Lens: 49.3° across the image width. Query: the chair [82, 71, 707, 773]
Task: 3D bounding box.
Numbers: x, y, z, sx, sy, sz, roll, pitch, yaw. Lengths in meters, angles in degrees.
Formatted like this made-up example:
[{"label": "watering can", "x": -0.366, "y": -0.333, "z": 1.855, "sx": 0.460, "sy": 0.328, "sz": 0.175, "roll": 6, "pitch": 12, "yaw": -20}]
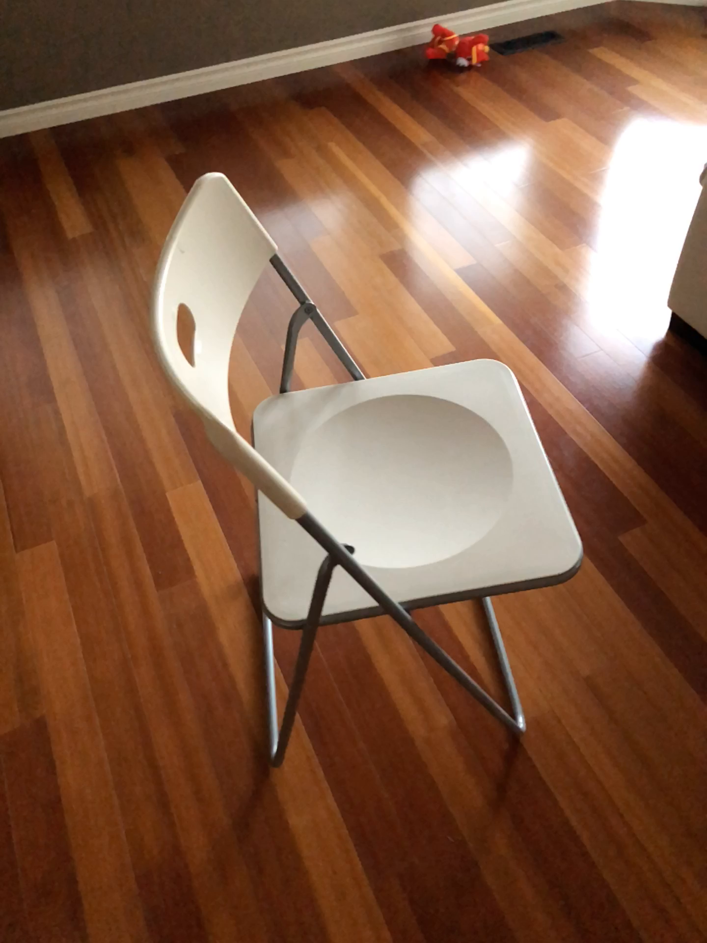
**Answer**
[{"label": "chair", "x": 0.078, "y": -0.033, "z": 0.874, "sx": 0.540, "sy": 0.577, "sz": 0.463, "roll": -7, "pitch": 49, "yaw": -3}]
